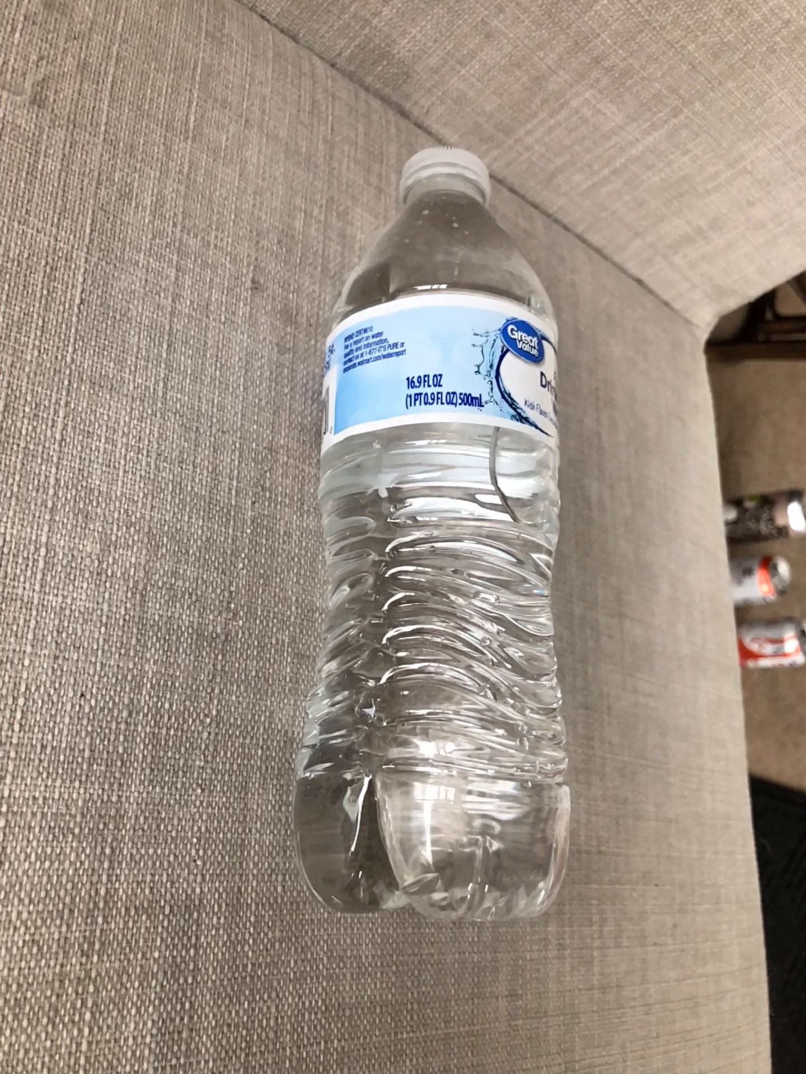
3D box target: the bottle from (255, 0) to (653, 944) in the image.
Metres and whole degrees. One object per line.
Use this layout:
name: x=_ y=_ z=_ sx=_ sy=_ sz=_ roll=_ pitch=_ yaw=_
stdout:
bottle: x=0.018 y=-0.024 z=0.241 sx=0.070 sy=0.080 sz=0.230 roll=46 pitch=42 yaw=-69
